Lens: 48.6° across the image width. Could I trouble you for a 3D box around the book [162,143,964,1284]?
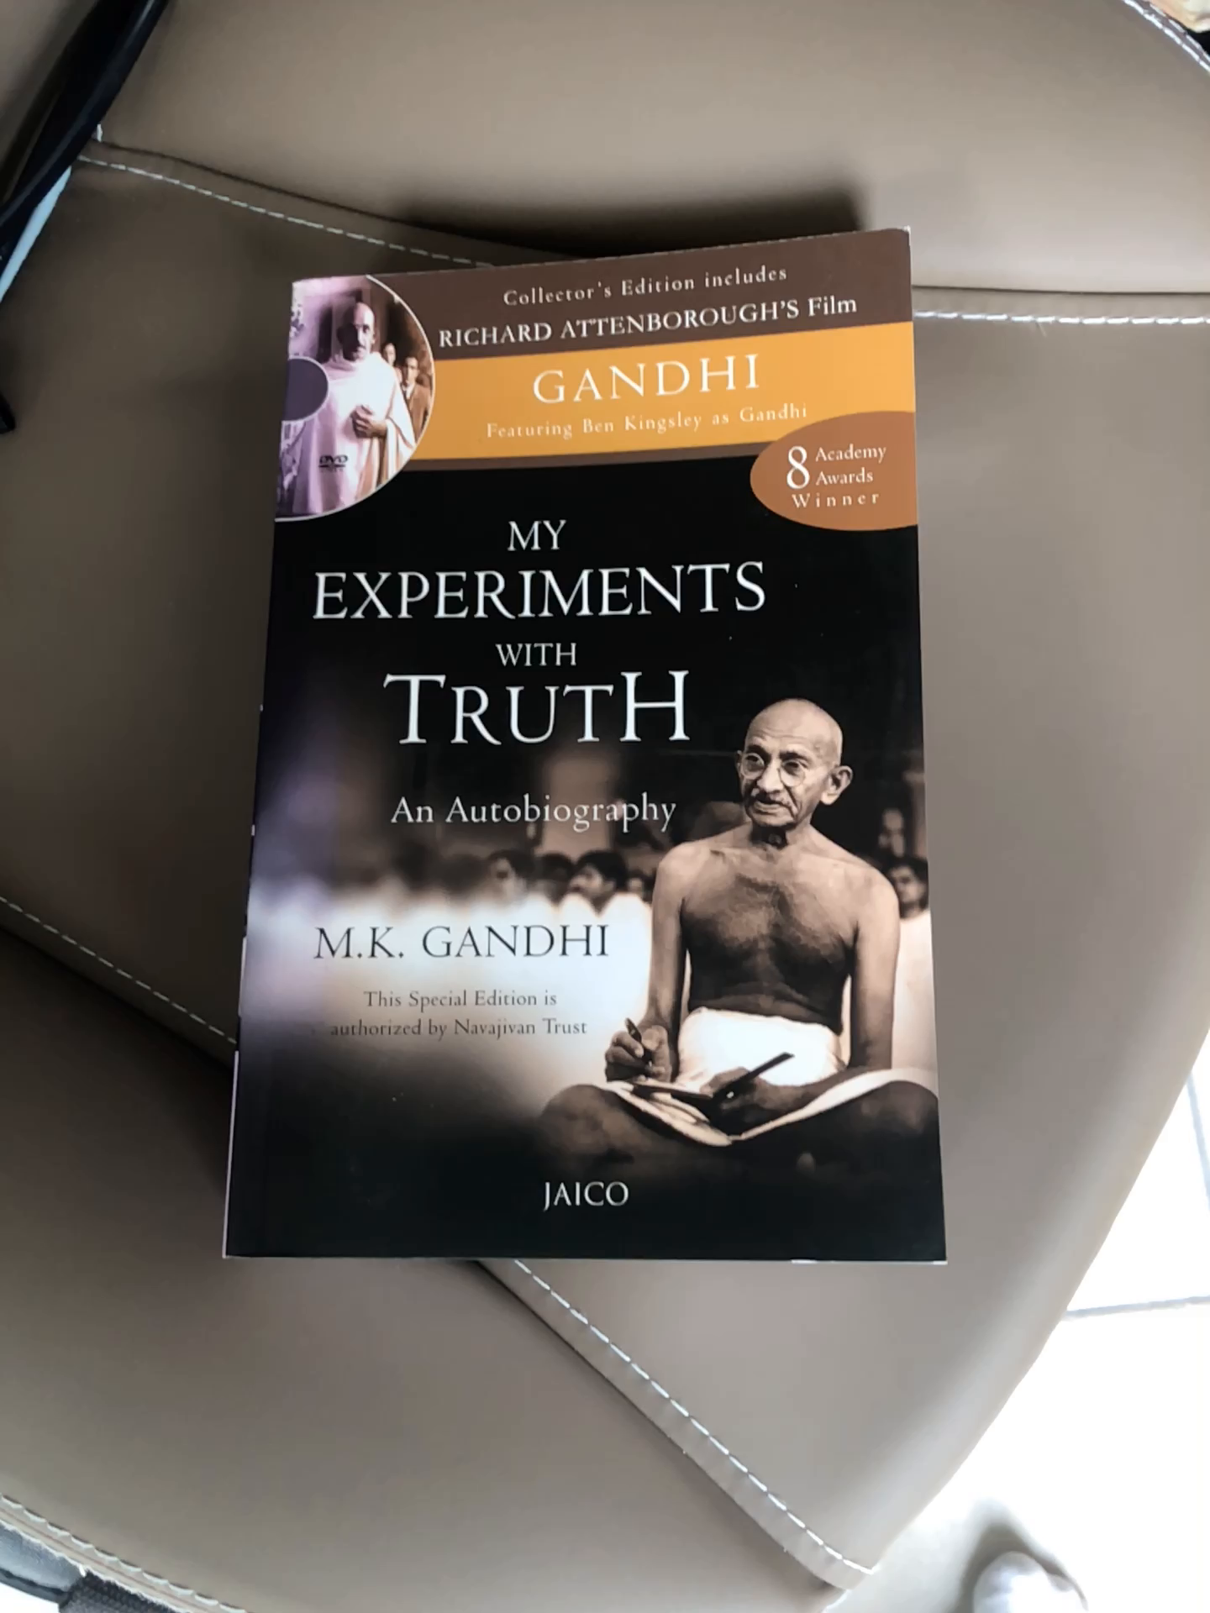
[{"bbox_3d":[-0.006,-0.025,0.300,0.150,0.050,0.240,0,78,3],"label":"book"}]
